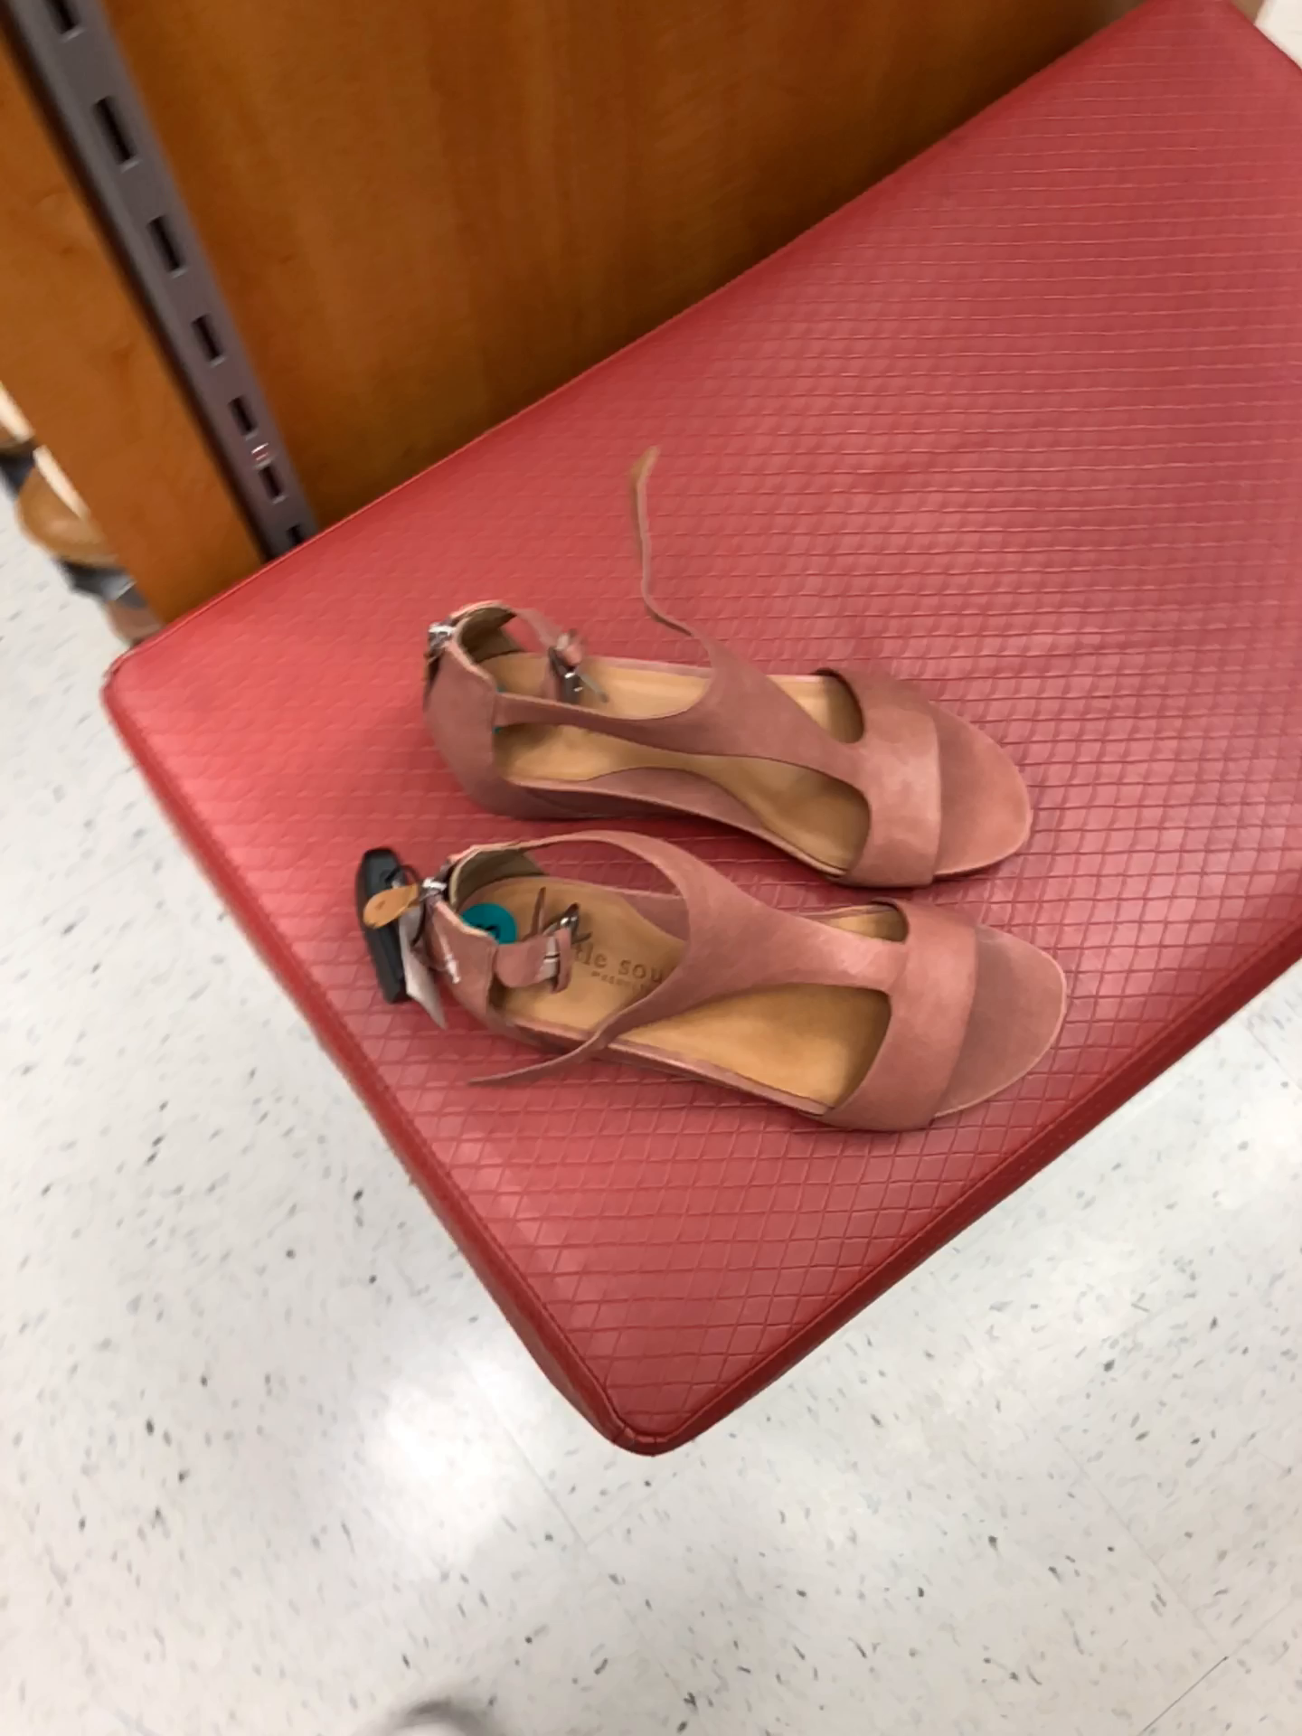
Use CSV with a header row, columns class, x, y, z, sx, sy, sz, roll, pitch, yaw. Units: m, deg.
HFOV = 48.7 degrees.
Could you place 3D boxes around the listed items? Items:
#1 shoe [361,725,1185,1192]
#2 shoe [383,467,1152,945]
class,x,y,z,sx,sy,sz,roll,pitch,yaw
shoe,0.042,0.041,0.541,0.263,0.126,0.103,10,73,1
shoe,0.043,-0.058,0.567,0.261,0.116,0.105,10,73,1
